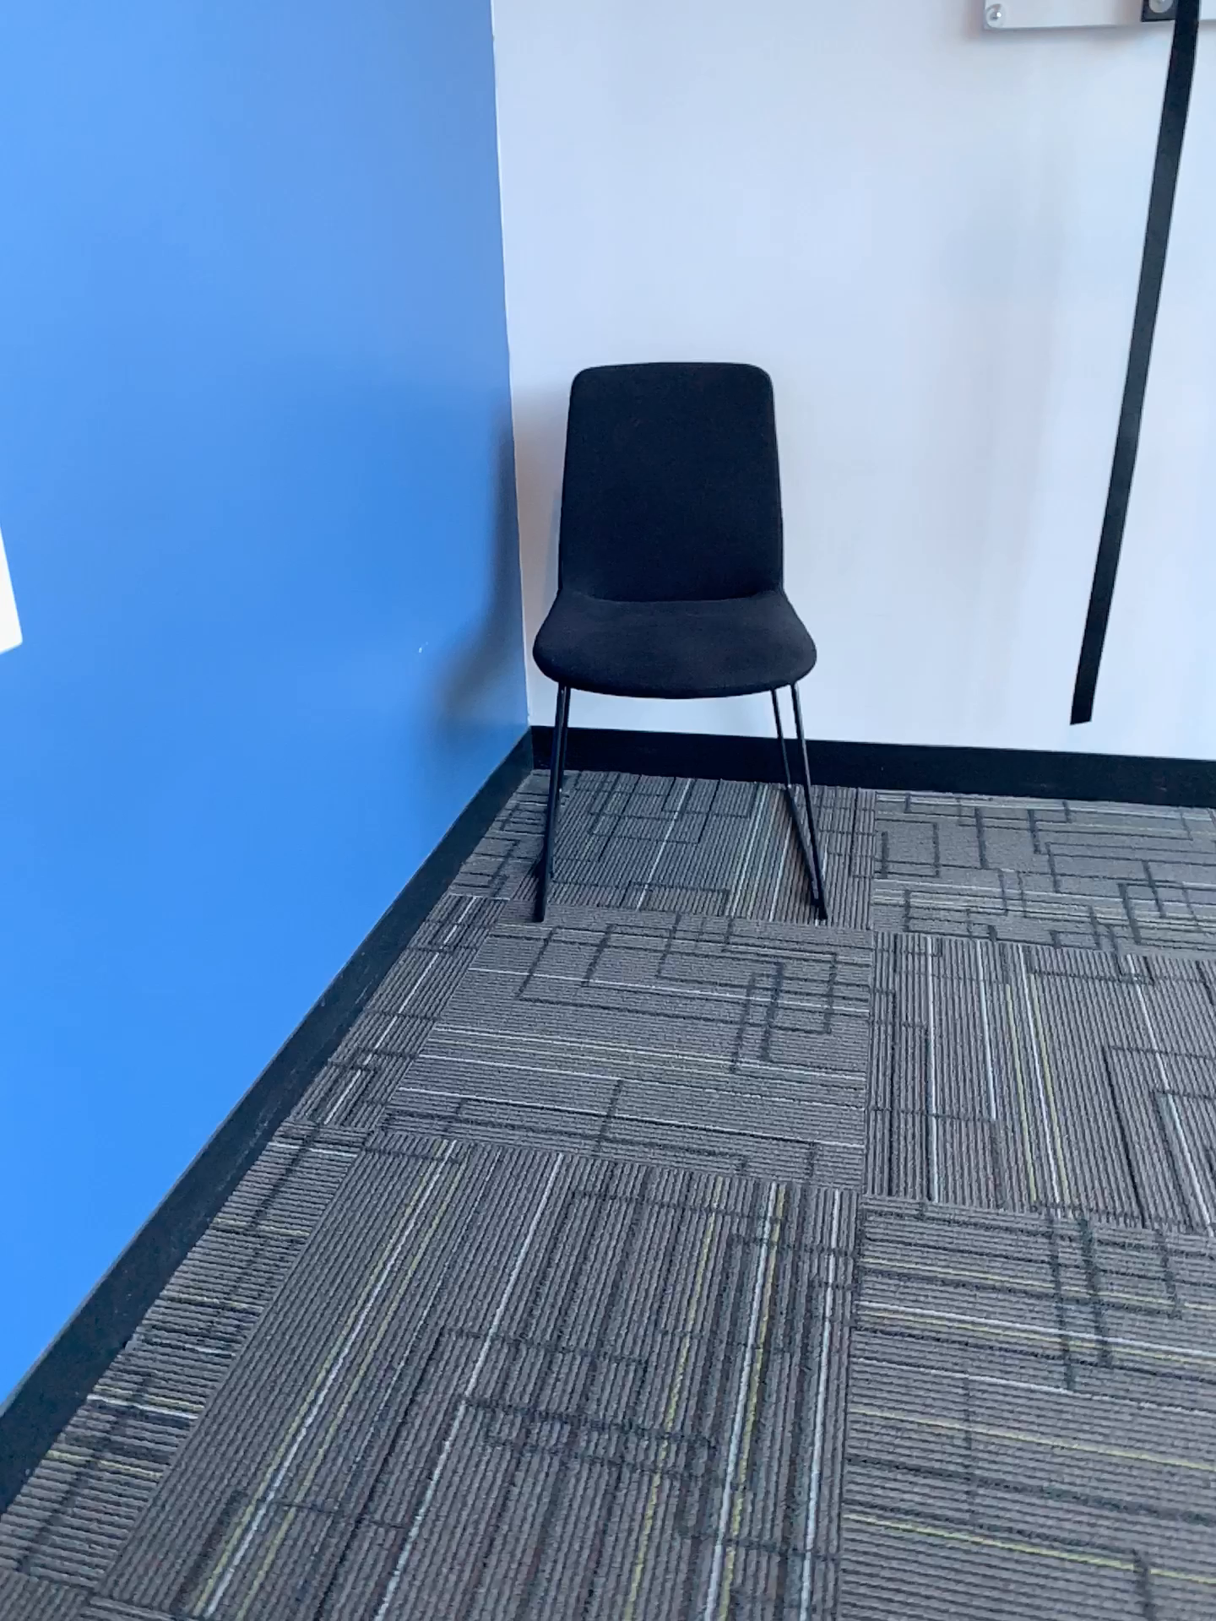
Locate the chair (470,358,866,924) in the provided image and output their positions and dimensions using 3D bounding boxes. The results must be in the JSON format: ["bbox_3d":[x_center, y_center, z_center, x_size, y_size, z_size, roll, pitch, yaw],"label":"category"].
[{"bbox_3d":[0.087,-0.296,1.991,0.500,0.756,0.583,-1,24,1],"label":"chair"}]
